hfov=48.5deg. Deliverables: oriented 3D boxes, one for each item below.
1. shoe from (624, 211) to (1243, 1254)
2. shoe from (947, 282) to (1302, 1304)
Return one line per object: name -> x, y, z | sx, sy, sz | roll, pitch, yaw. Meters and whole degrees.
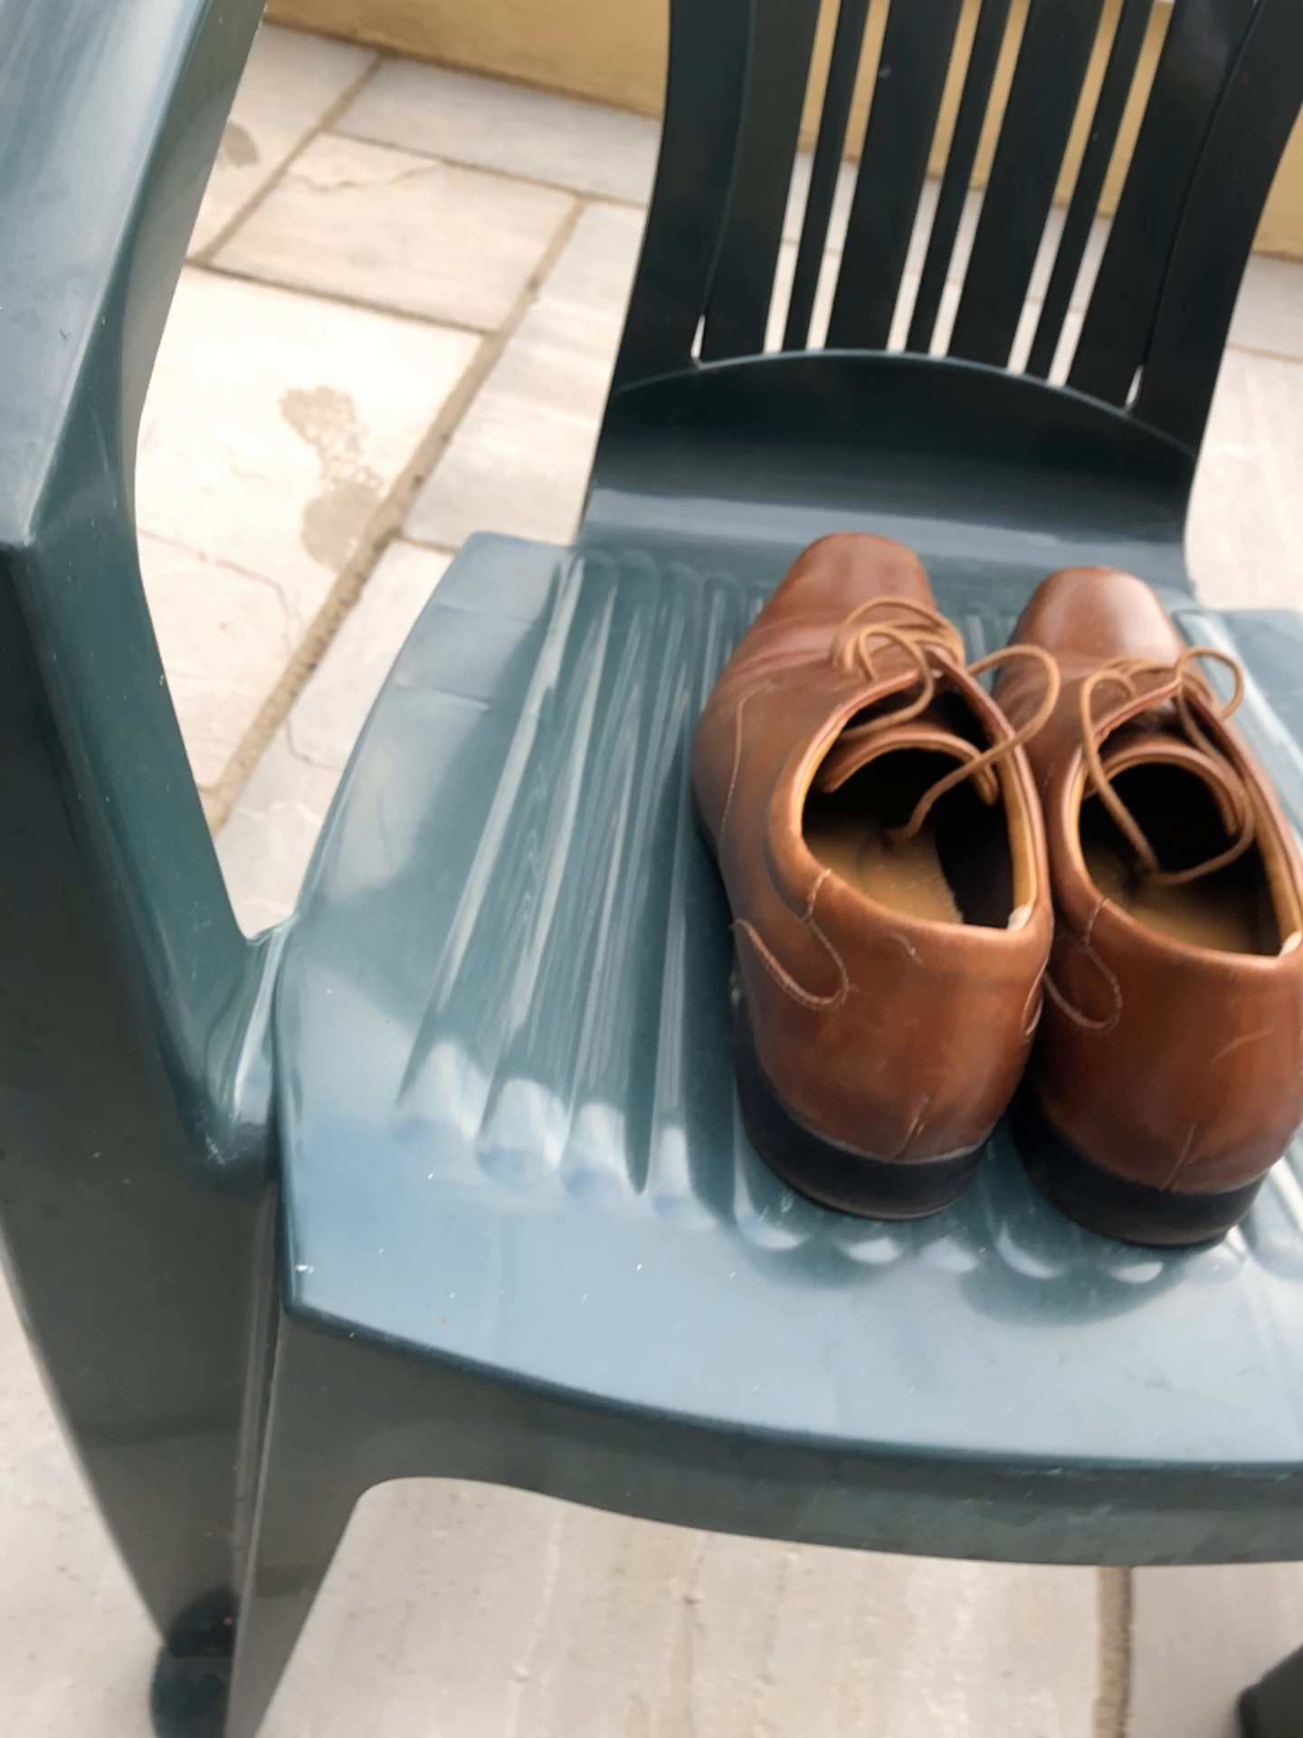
shoe -> 0.071, -0.057, 0.415 | 0.110, 0.109, 0.292 | 10, 50, -1
shoe -> 0.160, -0.039, 0.421 | 0.110, 0.109, 0.282 | 12, 50, 1
